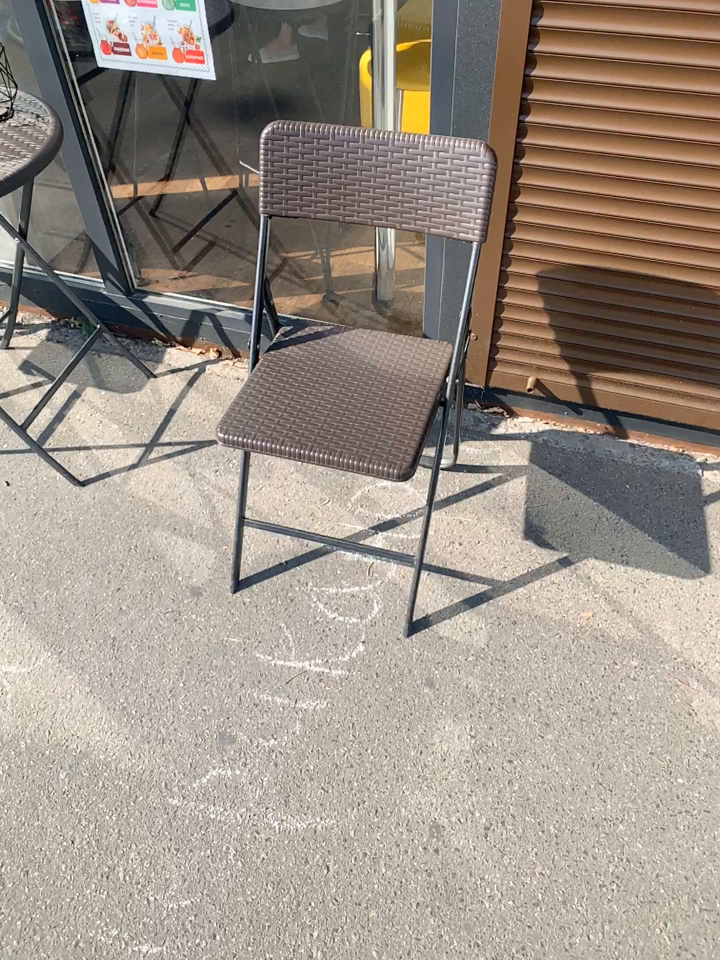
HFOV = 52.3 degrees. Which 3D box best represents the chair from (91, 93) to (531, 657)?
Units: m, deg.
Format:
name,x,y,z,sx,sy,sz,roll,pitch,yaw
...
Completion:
name,x,y,z,sx,sy,sz,roll,pitch,yaw
chair,-0.023,-0.183,1.378,0.480,0.767,0.612,12,49,12
